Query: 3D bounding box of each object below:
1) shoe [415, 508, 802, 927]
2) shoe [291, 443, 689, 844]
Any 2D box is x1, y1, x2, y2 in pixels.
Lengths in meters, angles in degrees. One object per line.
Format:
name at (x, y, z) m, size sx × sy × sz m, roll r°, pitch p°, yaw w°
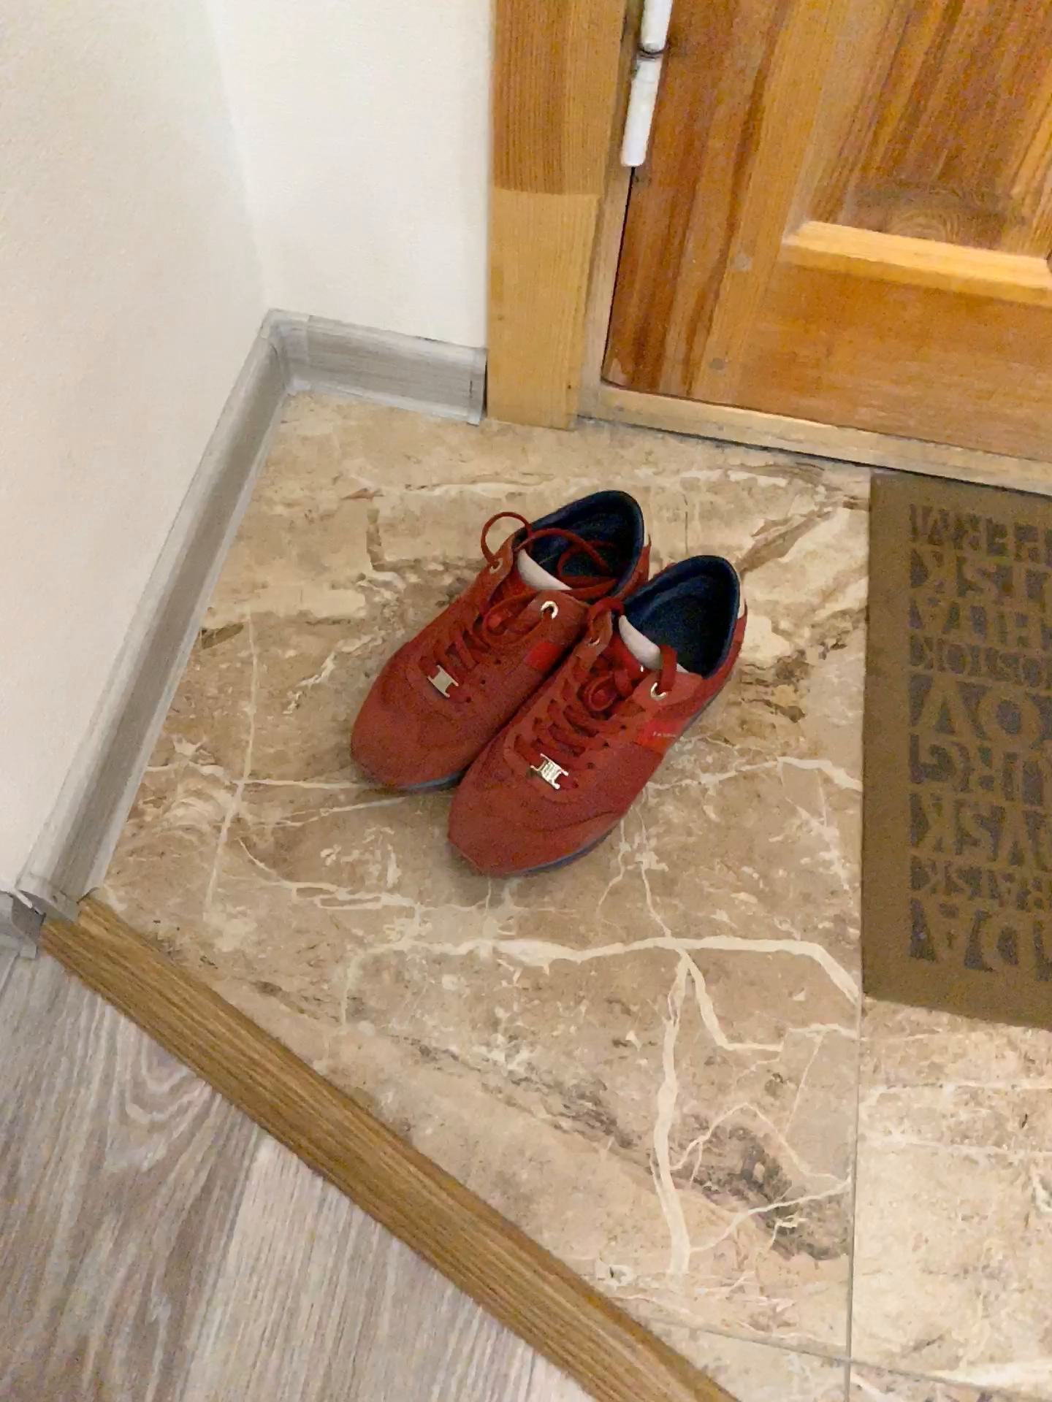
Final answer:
shoe at (0.051, 0.006, 0.650) m, size 0.090 × 0.090 × 0.240 m, roll 38°, pitch 65°, yaw 16°
shoe at (-0.017, -0.040, 0.664) m, size 0.090 × 0.090 × 0.240 m, roll 39°, pitch 65°, yaw 17°
